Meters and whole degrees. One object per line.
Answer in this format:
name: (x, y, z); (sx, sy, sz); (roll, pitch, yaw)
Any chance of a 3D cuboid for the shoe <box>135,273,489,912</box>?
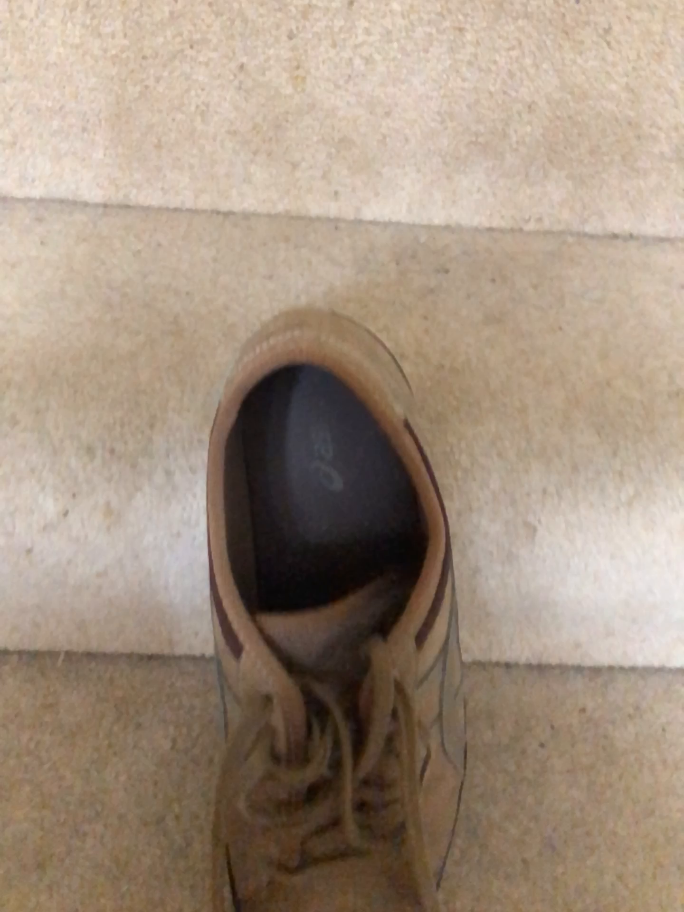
shoe: (-0.009, 0.091, 0.305); (0.110, 0.300, 0.120); (-1, -1, 1)
